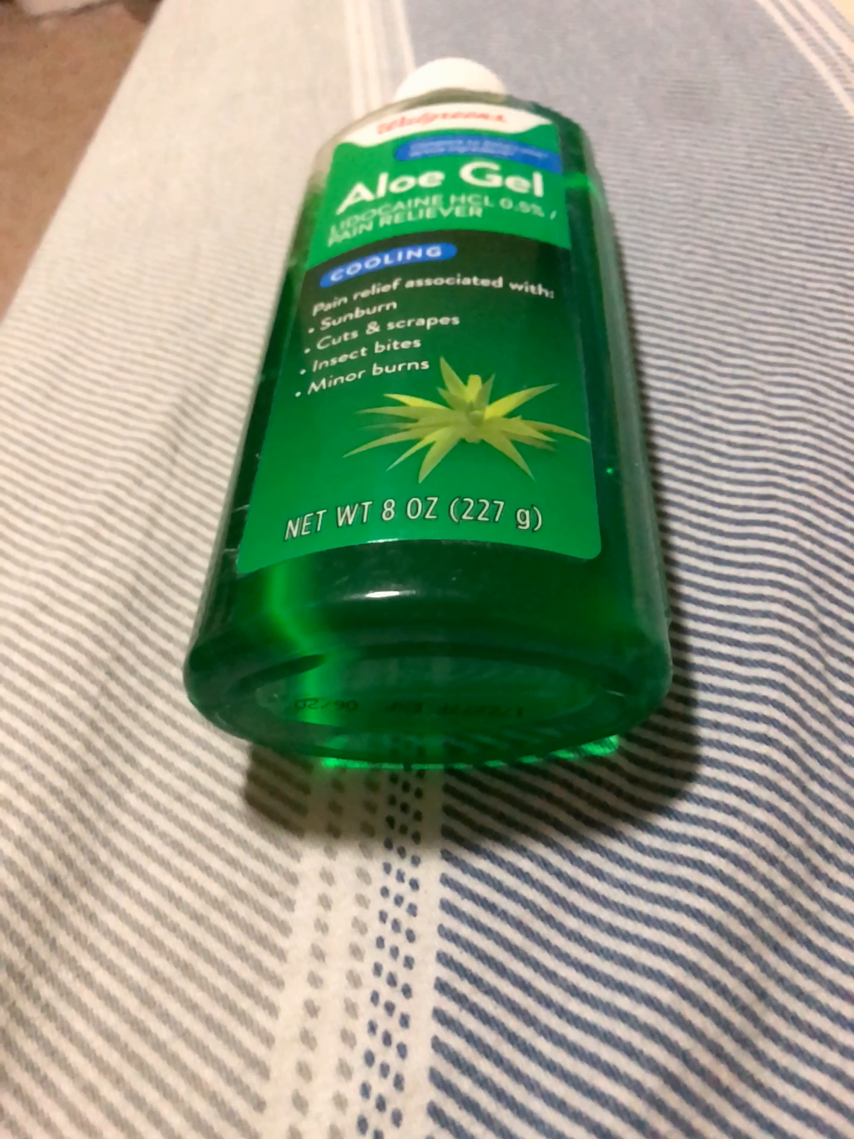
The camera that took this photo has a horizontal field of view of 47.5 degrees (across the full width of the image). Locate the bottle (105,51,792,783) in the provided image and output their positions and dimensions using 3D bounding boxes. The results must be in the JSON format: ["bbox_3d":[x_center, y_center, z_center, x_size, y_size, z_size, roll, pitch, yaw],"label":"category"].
[{"bbox_3d":[0.006,-0.048,0.185,0.080,0.030,0.180,1,47,4],"label":"bottle"}]
